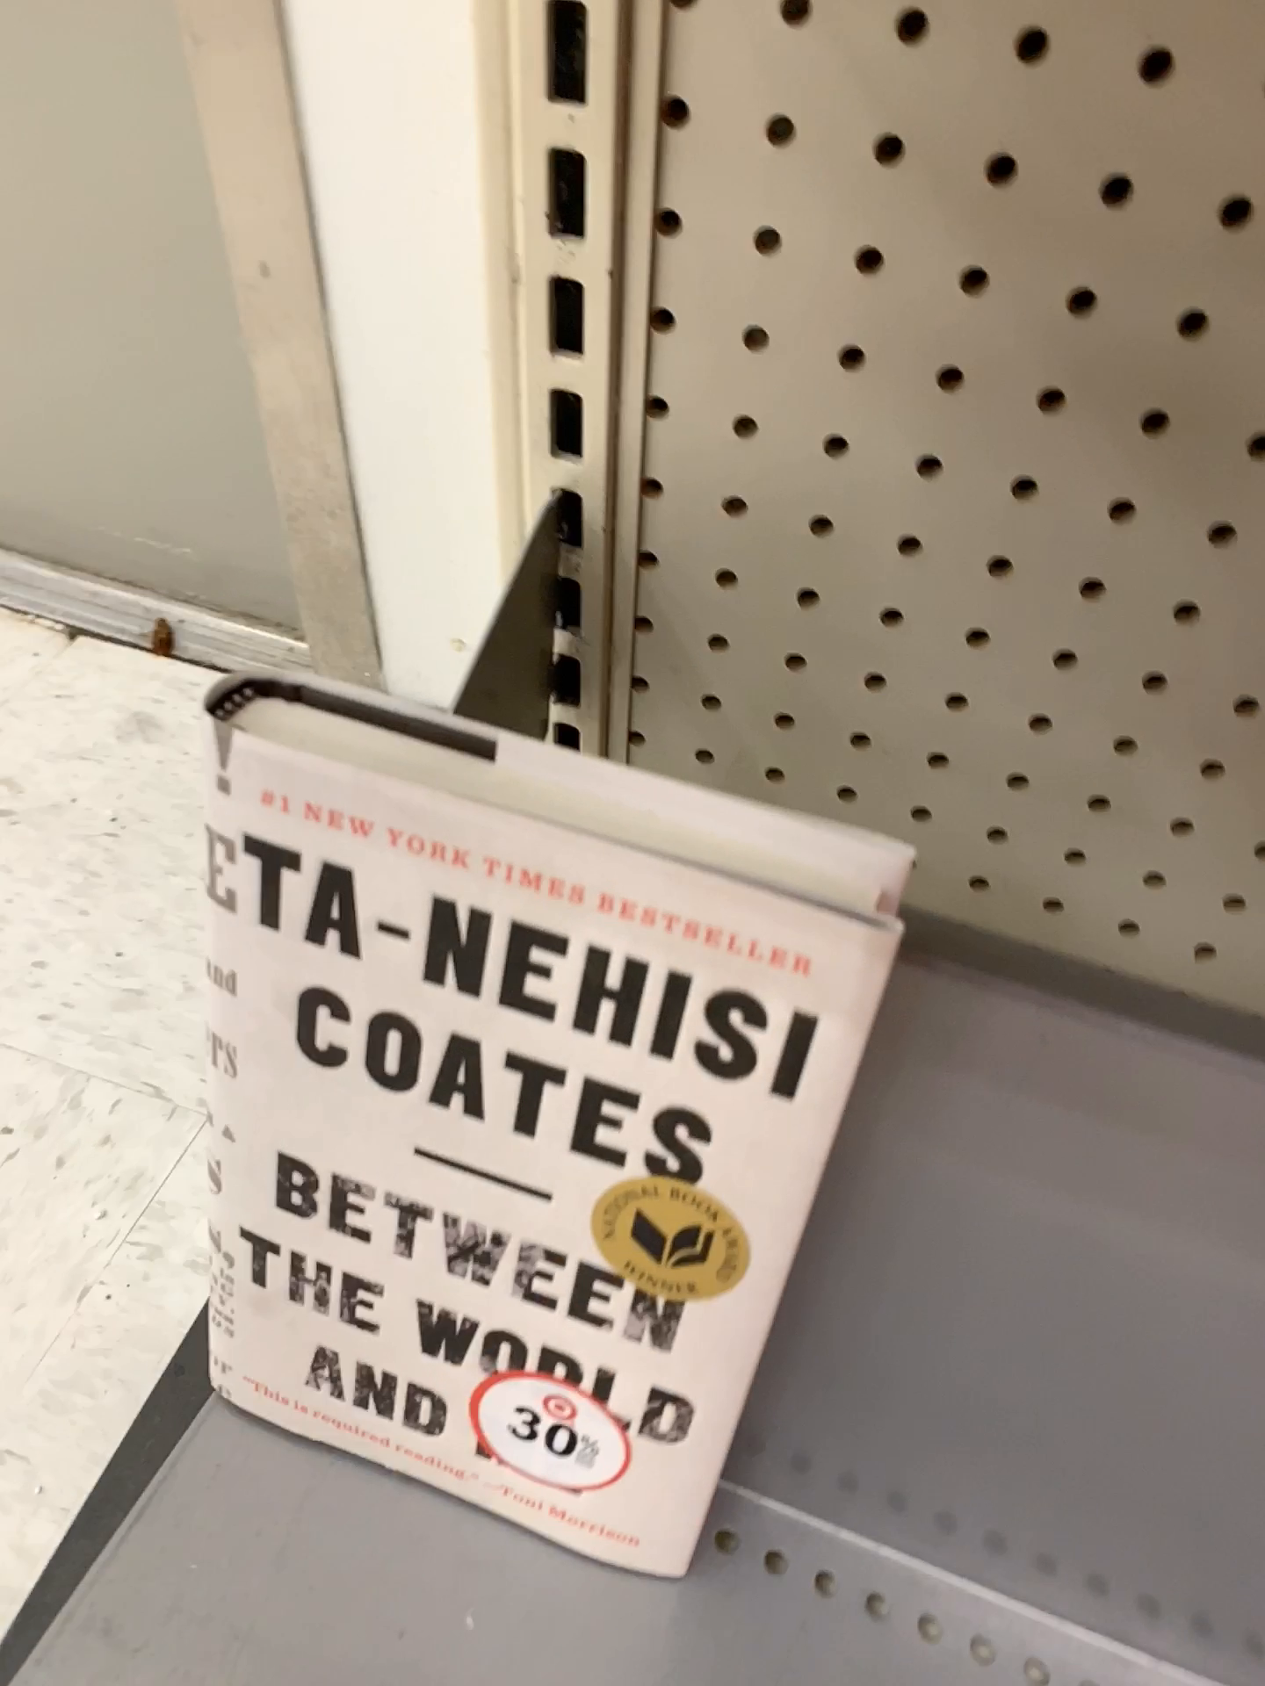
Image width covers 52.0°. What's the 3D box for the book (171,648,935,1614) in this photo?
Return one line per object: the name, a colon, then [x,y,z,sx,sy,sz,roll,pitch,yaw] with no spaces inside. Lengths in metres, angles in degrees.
book: [-0.027,0.067,0.268,0.129,0.187,0.030,16,30,11]
